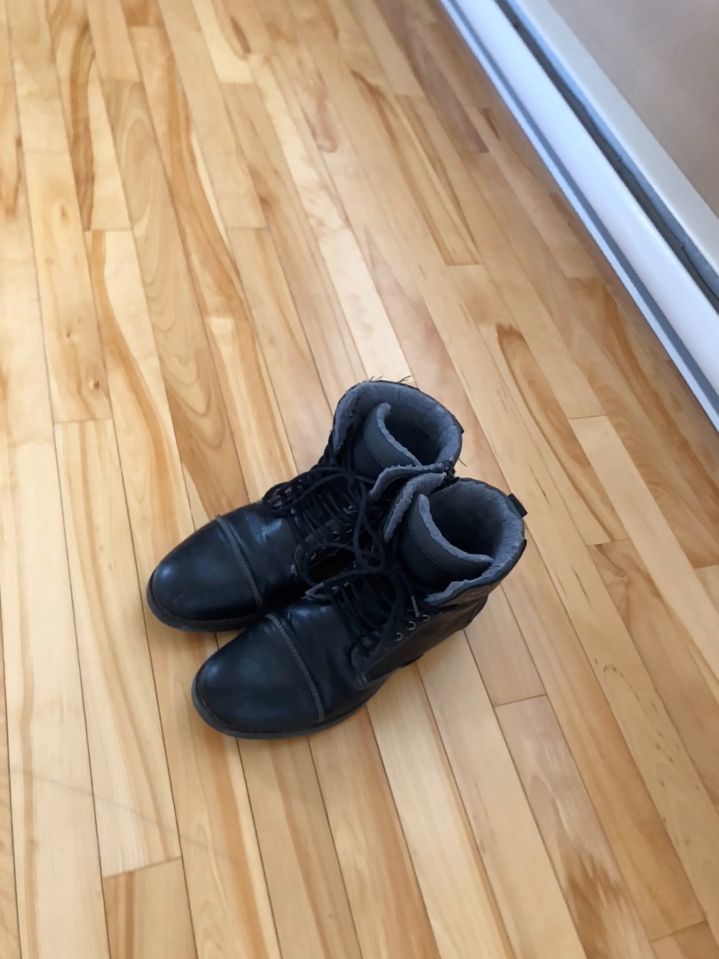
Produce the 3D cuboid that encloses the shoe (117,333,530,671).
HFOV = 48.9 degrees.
[{"bbox_3d":[-0.039,0.017,0.671,0.291,0.199,0.120,-17,61,-25],"label":"shoe"}]

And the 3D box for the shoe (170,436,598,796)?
[{"bbox_3d":[0.010,0.111,0.661,0.301,0.199,0.120,-20,62,-27],"label":"shoe"}]
